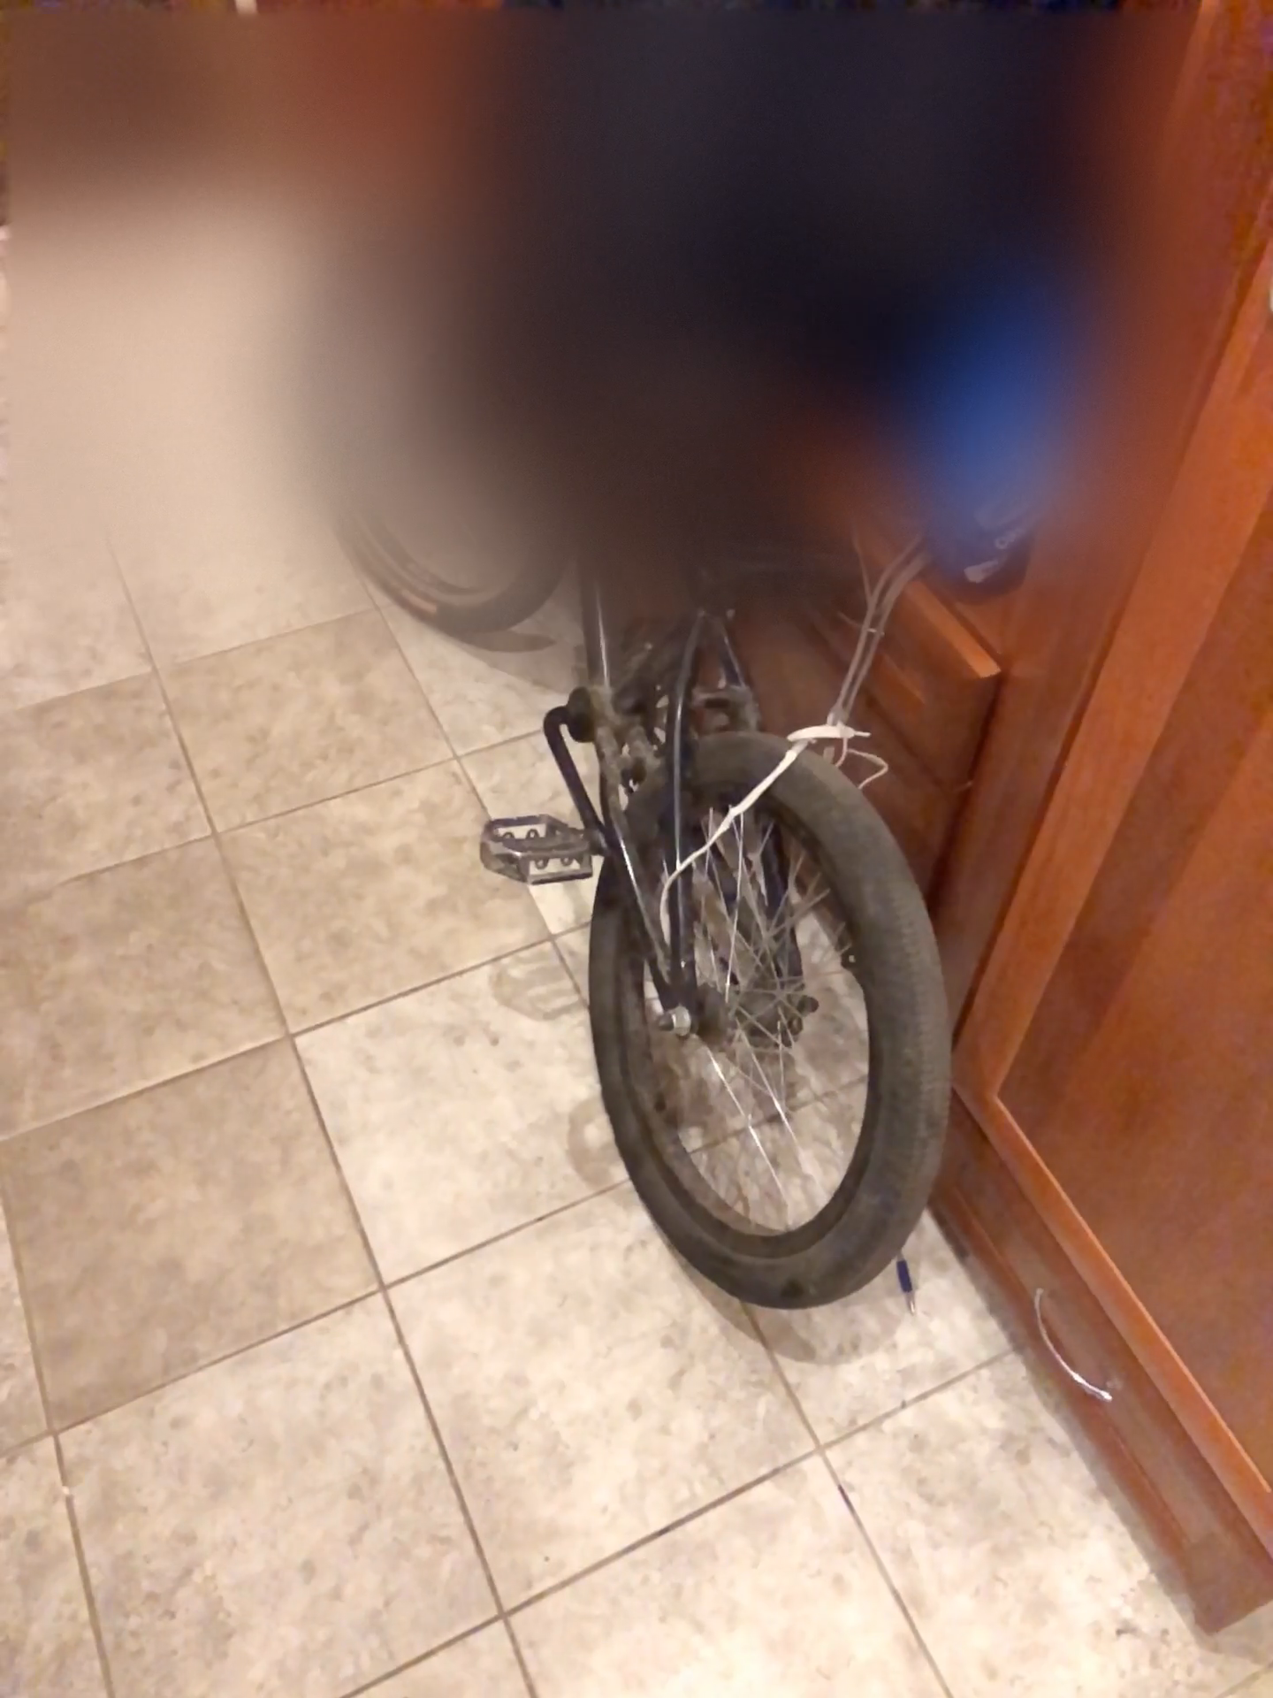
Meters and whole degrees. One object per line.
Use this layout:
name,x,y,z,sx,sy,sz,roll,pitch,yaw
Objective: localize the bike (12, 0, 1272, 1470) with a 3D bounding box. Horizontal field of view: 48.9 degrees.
bike,-0.041,-0.324,1.265,0.526,0.854,1.358,-17,56,-15
